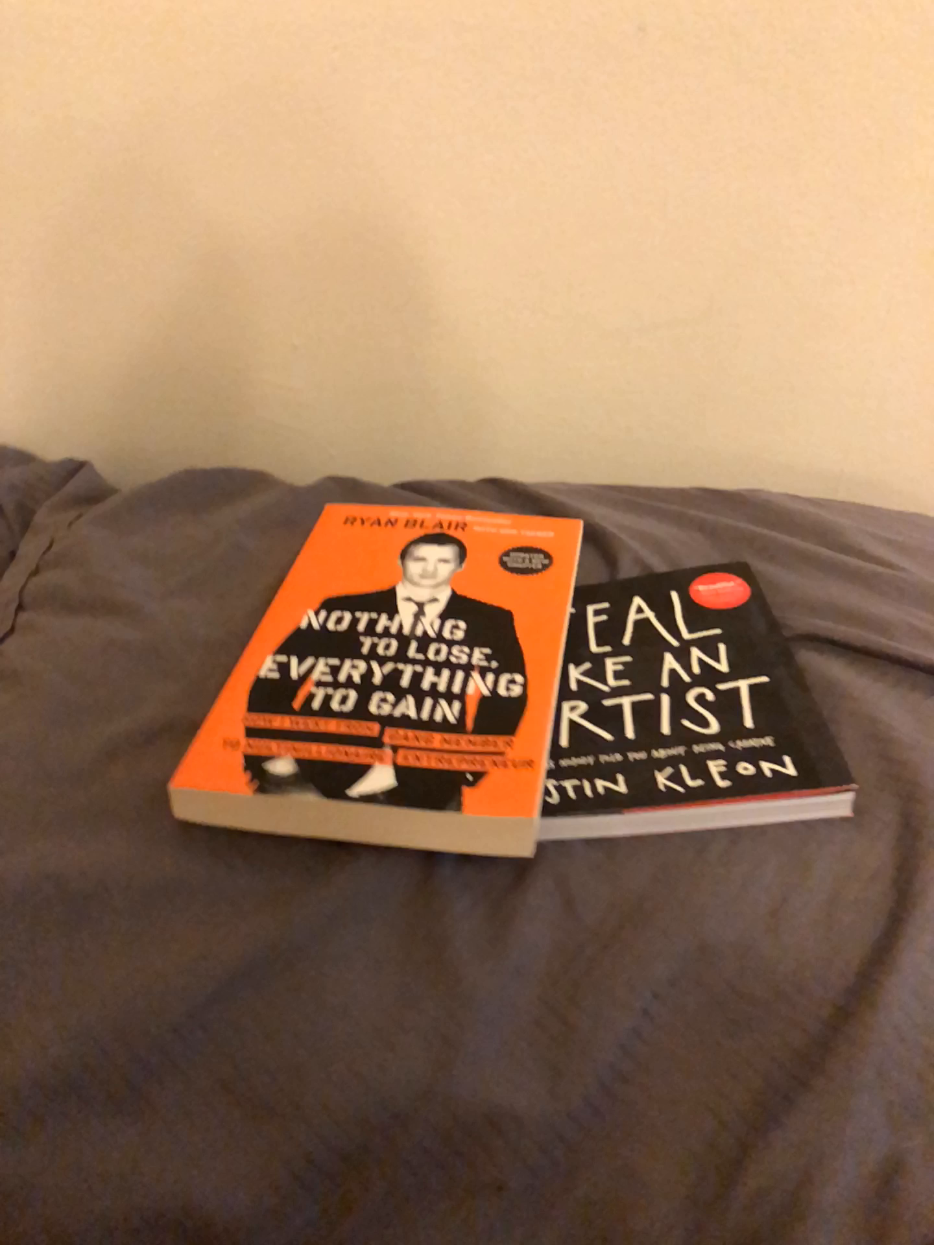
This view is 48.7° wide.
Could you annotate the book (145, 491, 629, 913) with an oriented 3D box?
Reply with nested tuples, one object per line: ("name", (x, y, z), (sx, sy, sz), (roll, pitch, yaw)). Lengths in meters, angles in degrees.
("book", (-0.016, 0.017, 0.461), (0.170, 0.020, 0.231), (6, 39, 6))

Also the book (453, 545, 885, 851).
("book", (0.075, 0.023, 0.456), (0.150, 0.020, 0.171), (-3, 37, -4))
